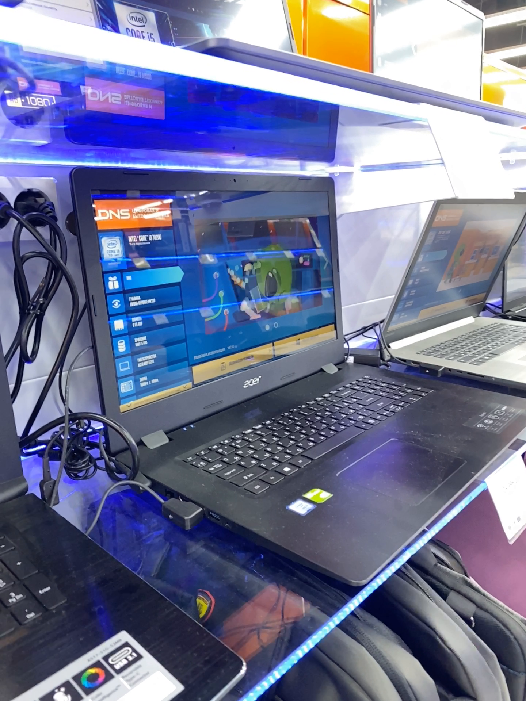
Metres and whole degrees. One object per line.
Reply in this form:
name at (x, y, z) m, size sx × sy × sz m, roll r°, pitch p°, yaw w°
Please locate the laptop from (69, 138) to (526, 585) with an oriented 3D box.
laptop at (0.086, -0.050, 0.573) m, size 0.327 × 0.273 × 0.422 m, roll 12°, pitch 19°, yaw 41°
